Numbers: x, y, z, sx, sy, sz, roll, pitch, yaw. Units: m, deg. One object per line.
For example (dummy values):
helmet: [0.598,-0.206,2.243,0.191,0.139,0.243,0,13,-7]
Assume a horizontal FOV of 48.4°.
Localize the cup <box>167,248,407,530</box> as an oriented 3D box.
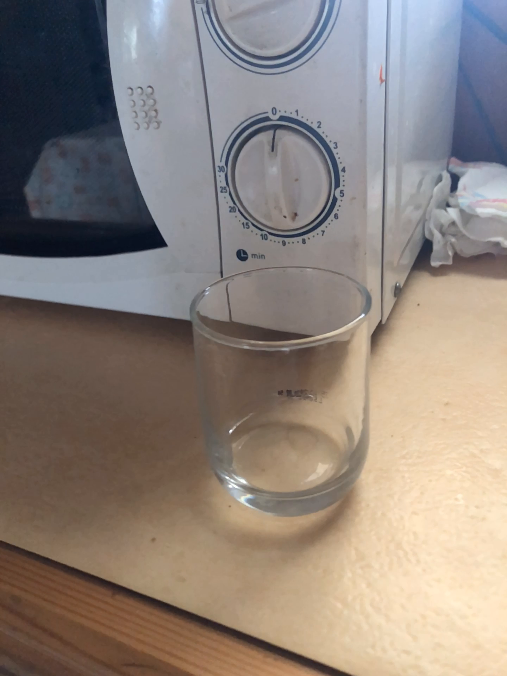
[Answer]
cup: [0.010,0.015,0.211,0.070,0.070,0.070,-4,29,2]
